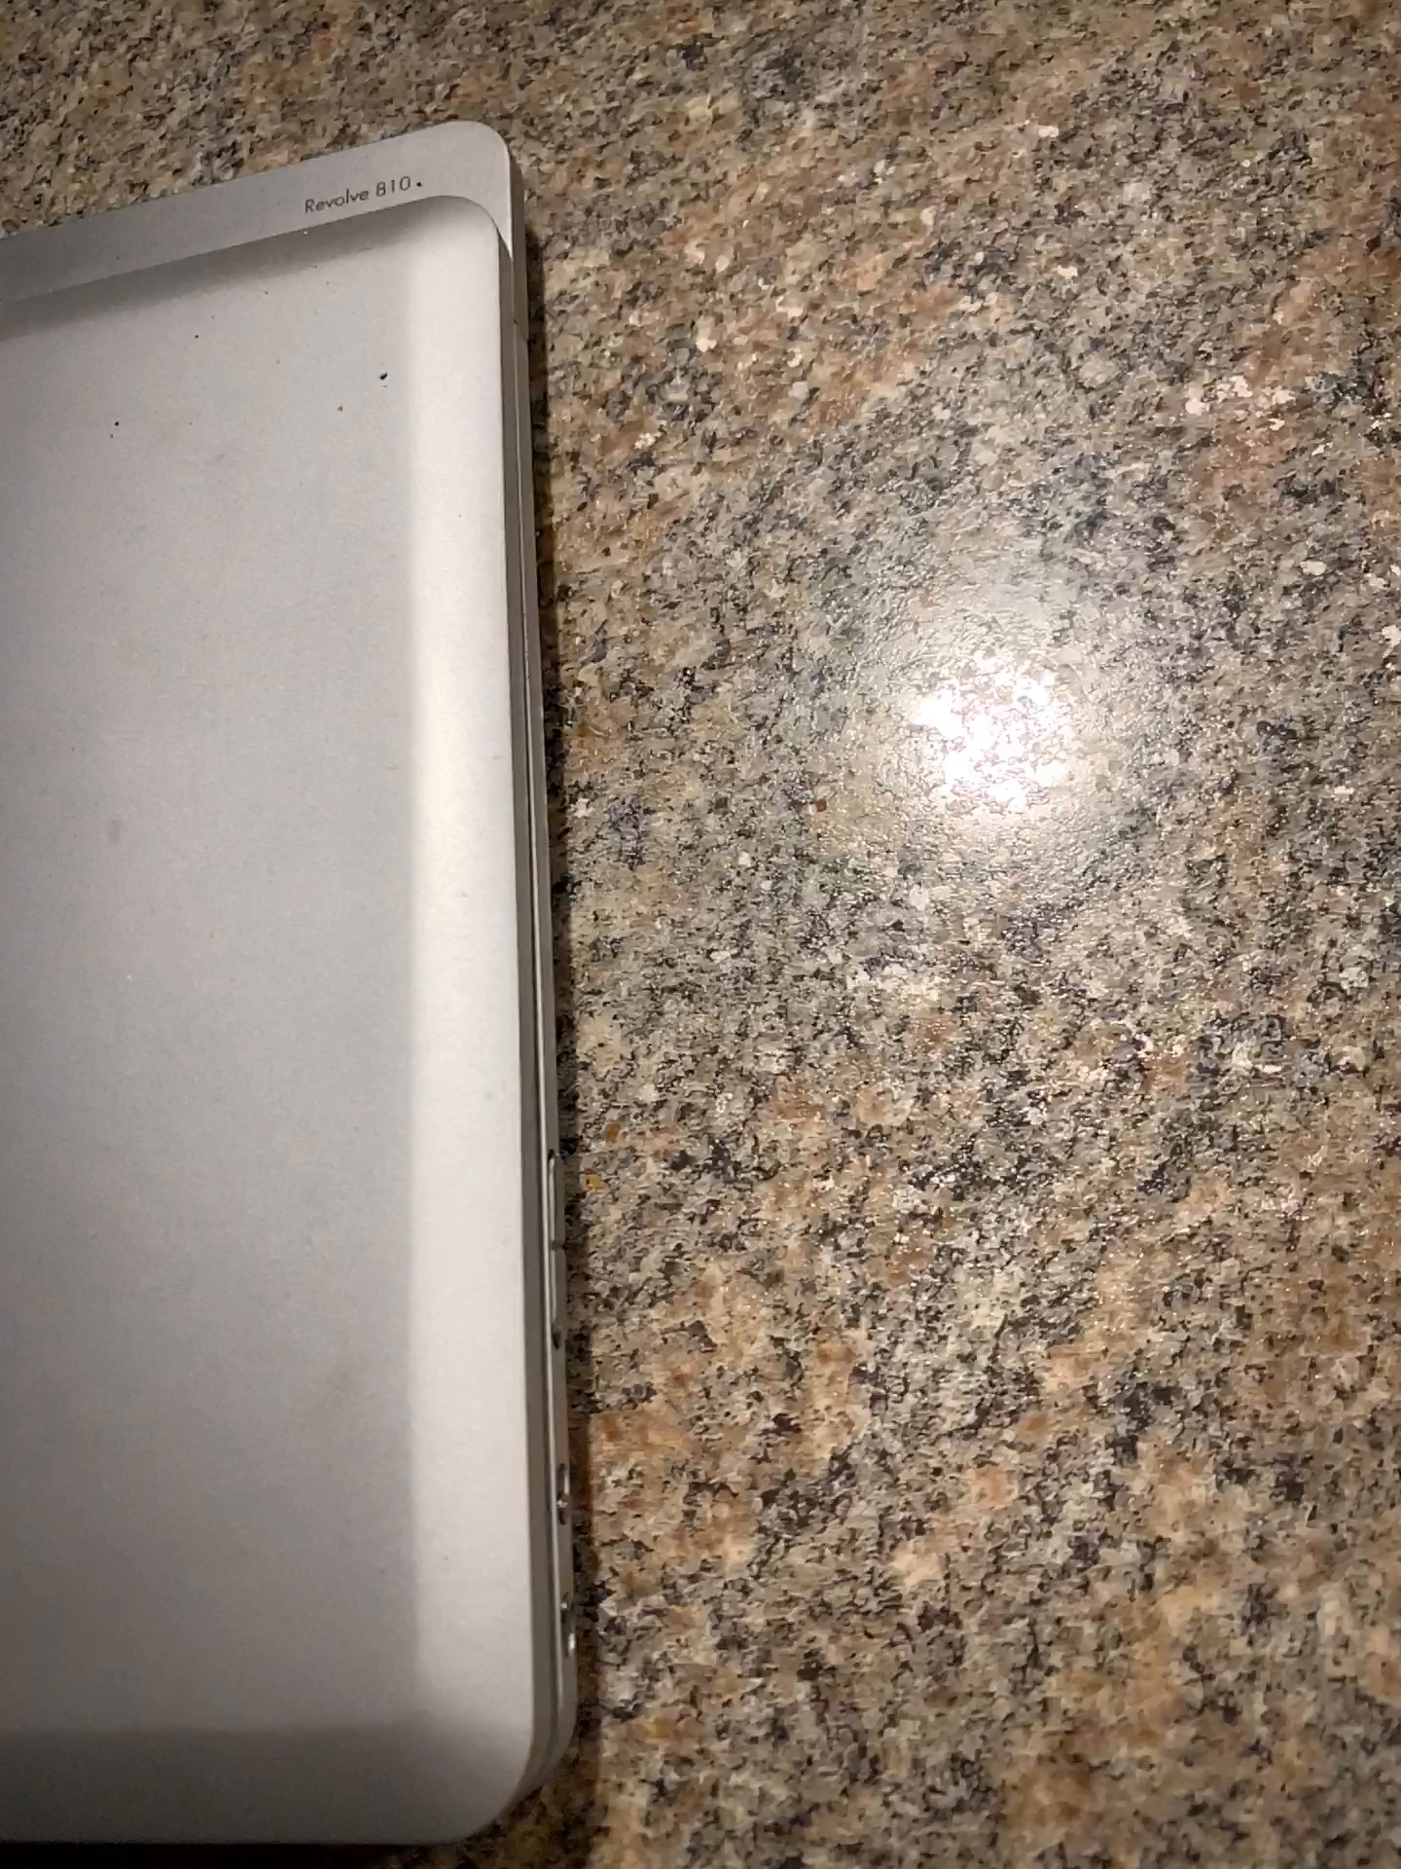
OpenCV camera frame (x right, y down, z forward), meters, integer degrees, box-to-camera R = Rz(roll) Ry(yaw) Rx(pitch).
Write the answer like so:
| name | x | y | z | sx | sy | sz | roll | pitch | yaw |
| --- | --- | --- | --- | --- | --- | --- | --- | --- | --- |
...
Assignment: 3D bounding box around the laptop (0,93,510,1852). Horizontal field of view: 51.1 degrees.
| name | x | y | z | sx | sy | sz | roll | pitch | yaw |
| --- | --- | --- | --- | --- | --- | --- | --- | --- | --- |
| laptop | -0.152 | 0.002 | 0.184 | 0.267 | 0.005 | 0.194 | -8 | 70 | 12 |
